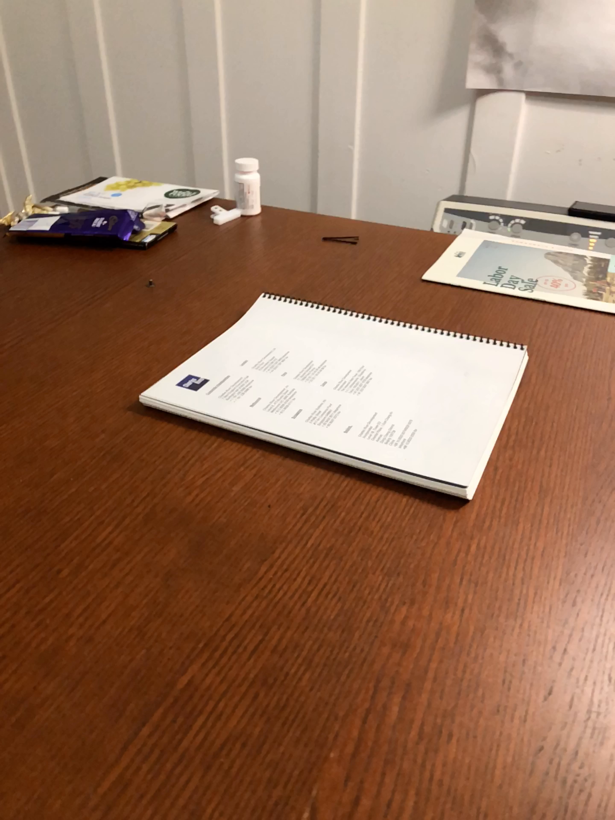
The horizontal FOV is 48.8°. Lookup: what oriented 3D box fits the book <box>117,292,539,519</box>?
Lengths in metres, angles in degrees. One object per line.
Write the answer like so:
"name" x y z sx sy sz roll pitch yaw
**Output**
"book" 0.029 -0.027 0.594 0.300 0.020 0.231 15 35 20
